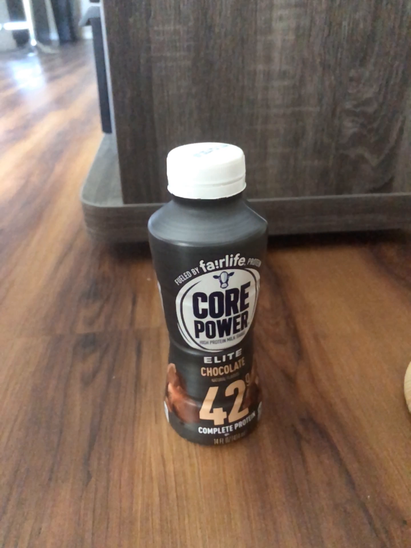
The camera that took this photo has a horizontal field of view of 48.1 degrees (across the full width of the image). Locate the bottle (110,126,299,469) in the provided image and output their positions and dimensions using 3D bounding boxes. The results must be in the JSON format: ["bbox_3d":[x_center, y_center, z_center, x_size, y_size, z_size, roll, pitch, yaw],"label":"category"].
[{"bbox_3d":[0.005,0.015,0.277,0.070,0.184,0.070,-2,29,1],"label":"bottle"}]
